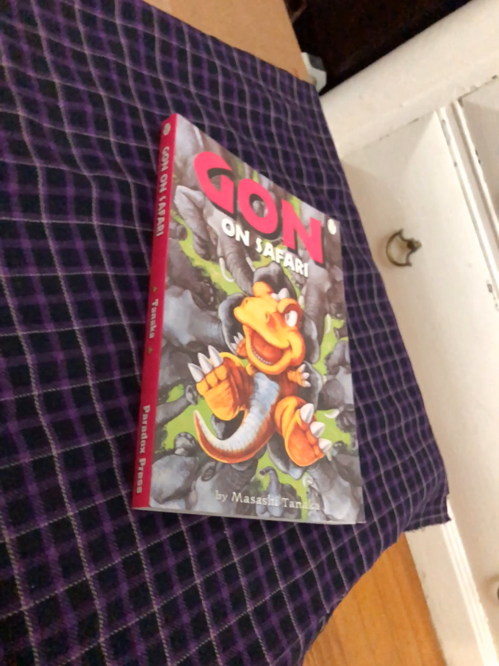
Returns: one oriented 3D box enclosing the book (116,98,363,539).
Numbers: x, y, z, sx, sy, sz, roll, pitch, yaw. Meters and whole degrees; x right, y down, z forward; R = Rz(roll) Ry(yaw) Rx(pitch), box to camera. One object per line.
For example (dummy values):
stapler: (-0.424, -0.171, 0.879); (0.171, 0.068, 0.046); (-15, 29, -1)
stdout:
book: (0.006, -0.002, 0.306); (0.150, 0.020, 0.210); (23, 58, -43)
